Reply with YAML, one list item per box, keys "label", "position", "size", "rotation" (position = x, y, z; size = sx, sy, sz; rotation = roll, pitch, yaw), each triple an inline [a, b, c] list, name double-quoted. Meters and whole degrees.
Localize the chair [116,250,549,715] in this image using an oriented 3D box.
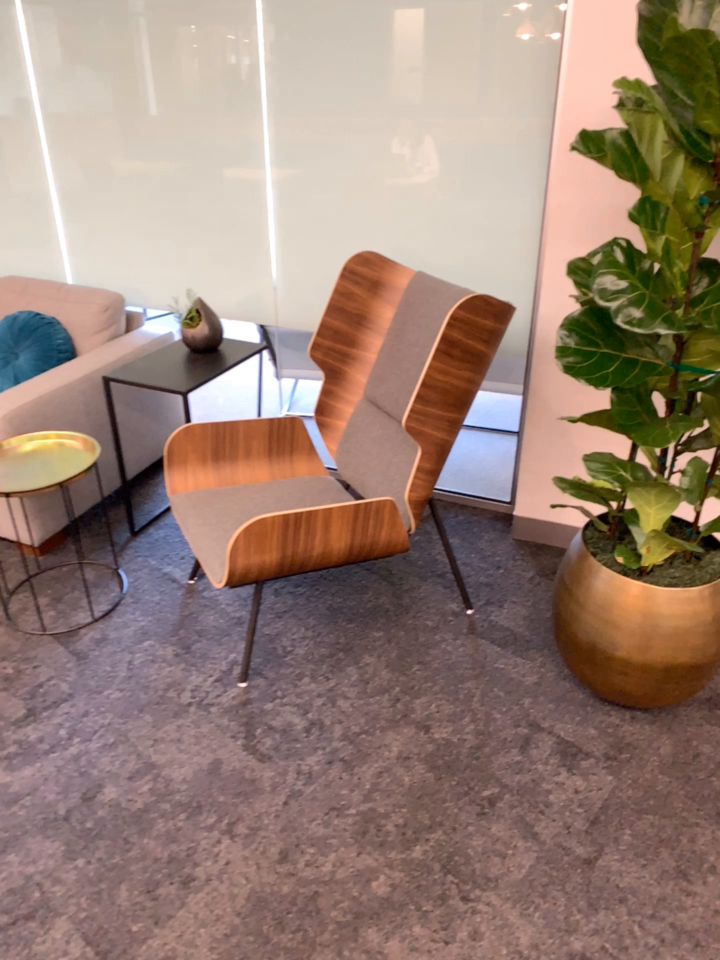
- label: "chair"
  position: [-0.124, -0.091, 2.277]
  size: [0.930, 0.994, 0.885]
  rotation: [-13, 30, -24]
